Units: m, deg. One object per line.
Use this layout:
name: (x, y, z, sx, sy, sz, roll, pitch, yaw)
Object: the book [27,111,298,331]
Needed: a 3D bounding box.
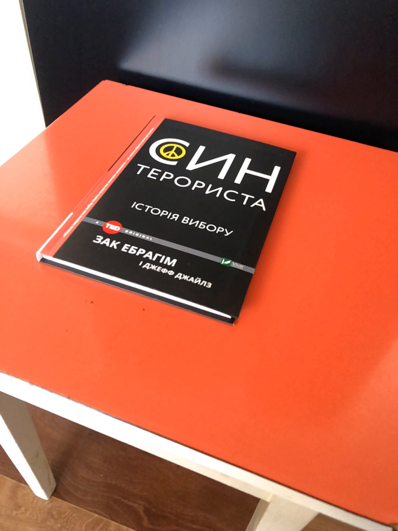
book: (-0.013, -0.053, 0.341, 0.140, 0.016, 0.198, 18, 48, 10)
